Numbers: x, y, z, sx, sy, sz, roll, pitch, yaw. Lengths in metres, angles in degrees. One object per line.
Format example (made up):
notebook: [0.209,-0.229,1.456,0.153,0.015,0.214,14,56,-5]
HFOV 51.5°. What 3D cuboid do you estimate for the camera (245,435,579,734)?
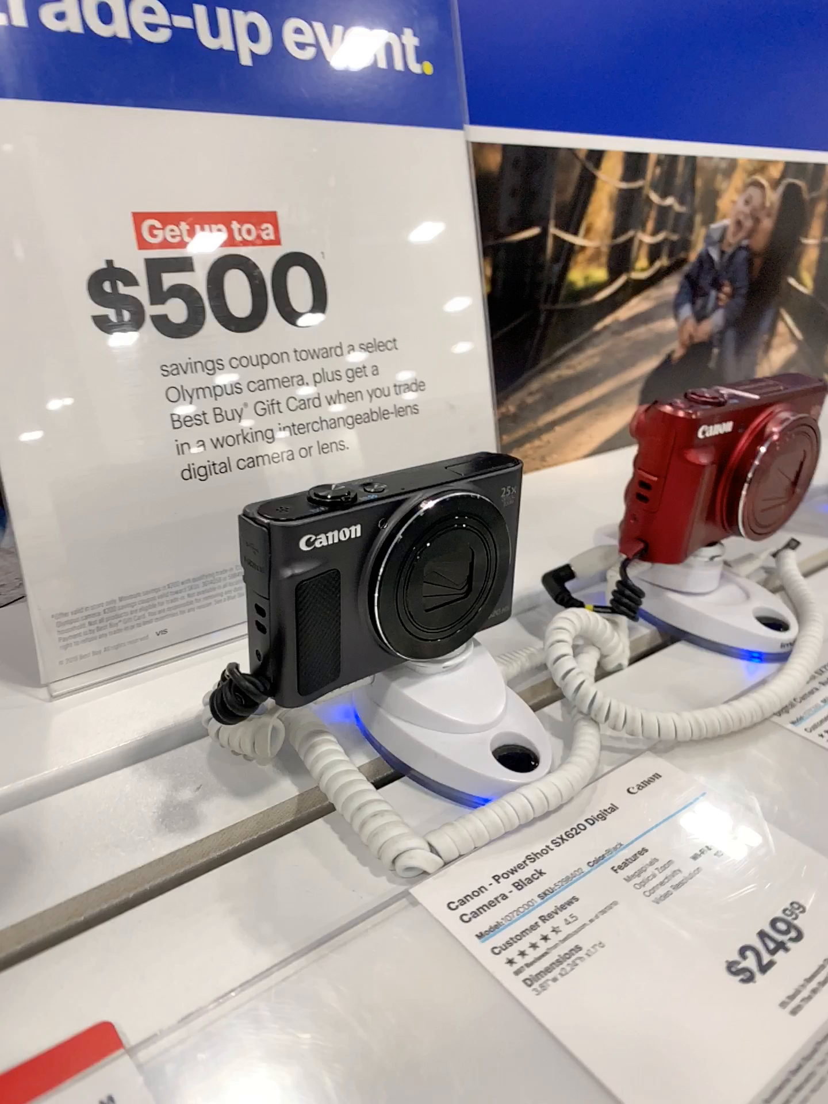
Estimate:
camera: [0.002,0.005,0.261,0.100,0.060,0.030,-17,30,-36]
